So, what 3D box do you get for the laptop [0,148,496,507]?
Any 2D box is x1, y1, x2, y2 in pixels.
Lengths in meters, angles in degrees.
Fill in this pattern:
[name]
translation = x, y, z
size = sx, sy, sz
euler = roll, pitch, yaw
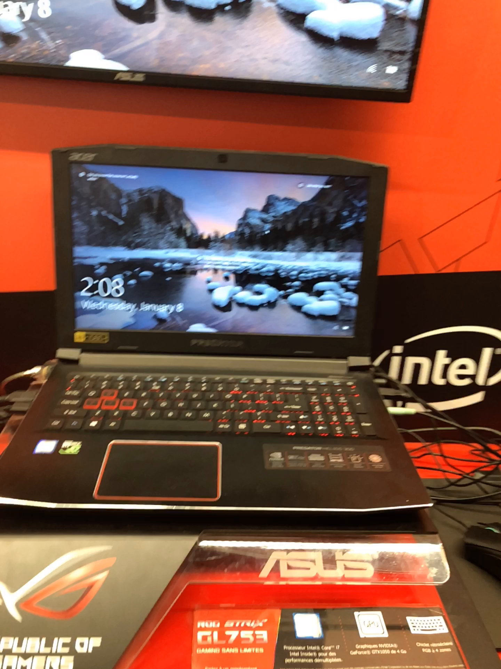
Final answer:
[laptop]
translation = -0.031, -0.032, 0.555
size = 0.385, 0.240, 0.295
euler = 2, 24, -3
